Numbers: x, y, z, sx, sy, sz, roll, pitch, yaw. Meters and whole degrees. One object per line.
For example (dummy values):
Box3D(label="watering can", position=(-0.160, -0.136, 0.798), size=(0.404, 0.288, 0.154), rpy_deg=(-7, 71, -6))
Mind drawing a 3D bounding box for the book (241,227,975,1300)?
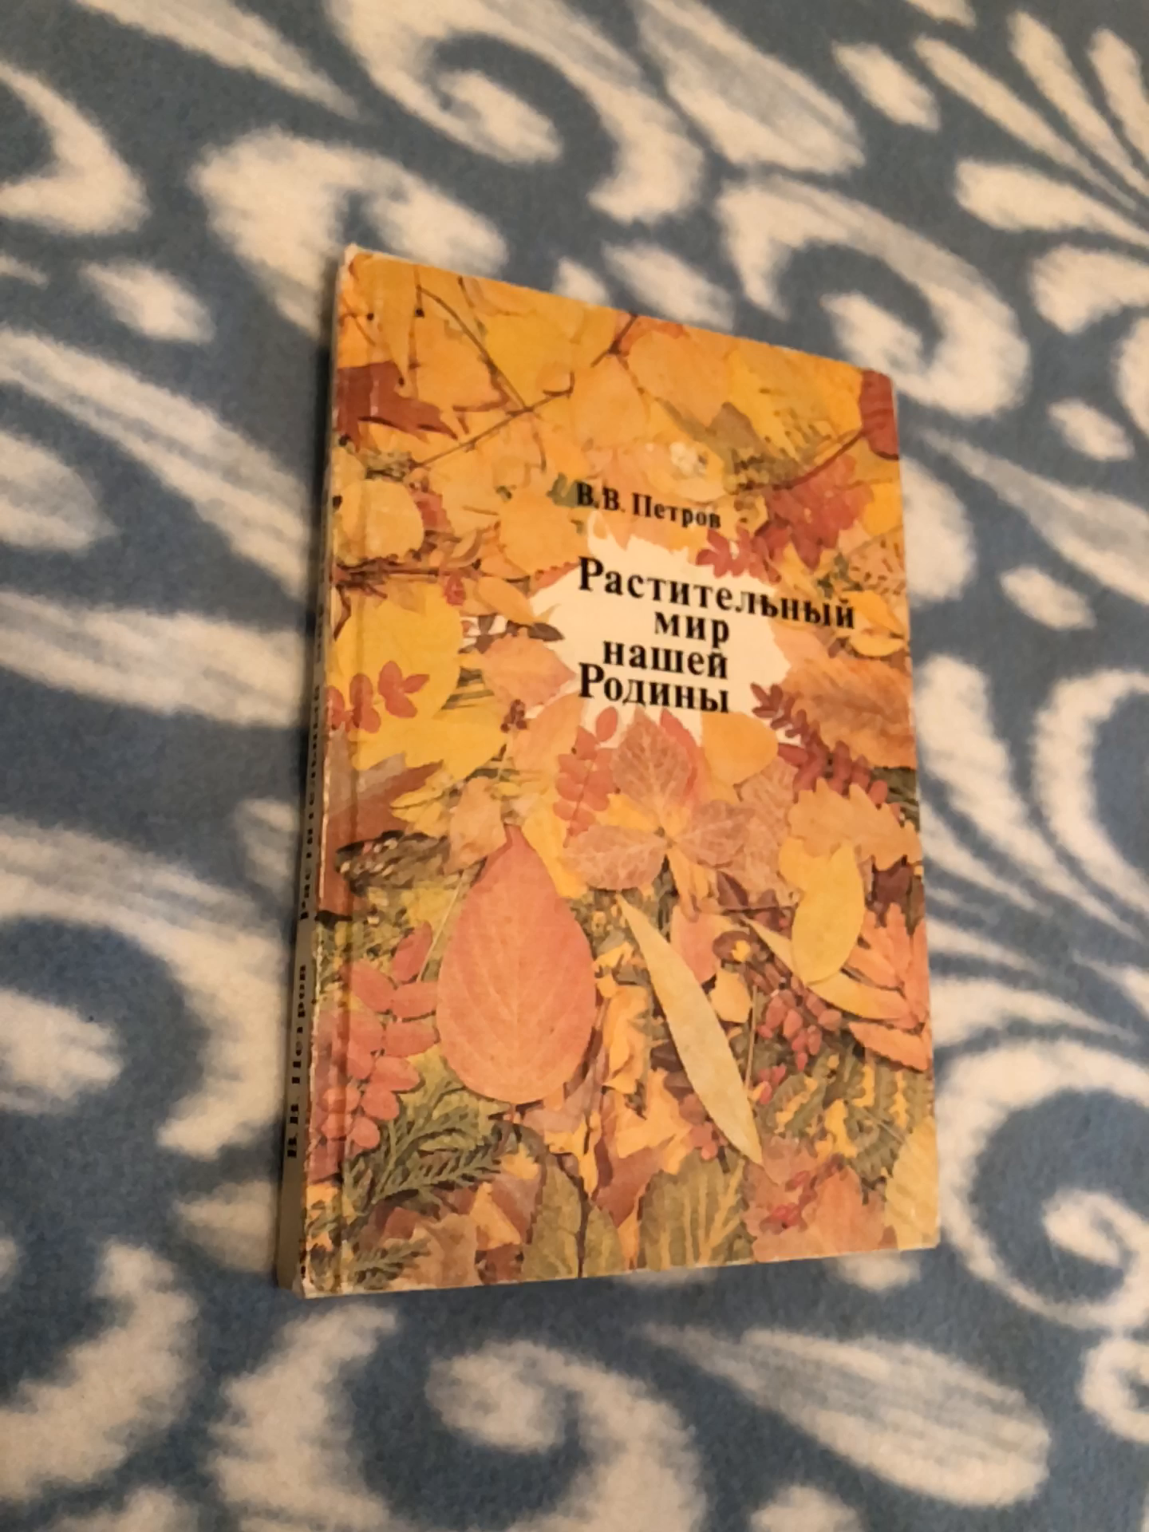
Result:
Box3D(label="book", position=(0.014, -0.001, 0.284), size=(0.157, 0.020, 0.208), rpy_deg=(6, 77, -24))
